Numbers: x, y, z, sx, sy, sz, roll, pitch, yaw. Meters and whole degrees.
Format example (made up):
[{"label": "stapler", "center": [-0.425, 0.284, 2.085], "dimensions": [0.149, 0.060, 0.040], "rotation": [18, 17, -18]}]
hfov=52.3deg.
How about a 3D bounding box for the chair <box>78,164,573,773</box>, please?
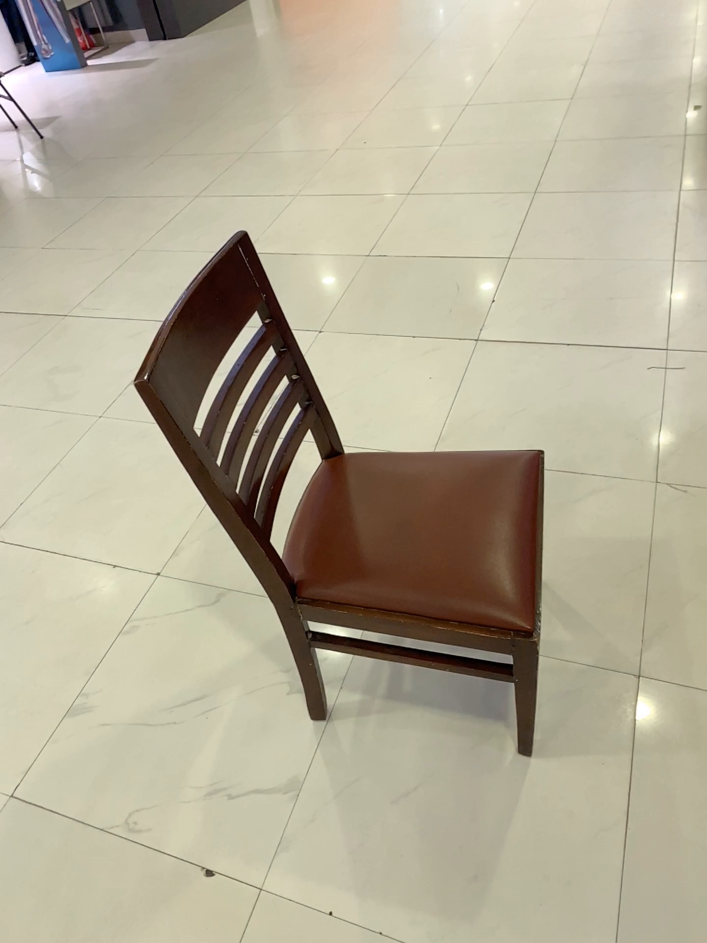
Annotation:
[{"label": "chair", "center": [0.069, 0.013, 1.206], "dimensions": [0.540, 0.783, 0.564], "rotation": [1, 43, 15]}]
